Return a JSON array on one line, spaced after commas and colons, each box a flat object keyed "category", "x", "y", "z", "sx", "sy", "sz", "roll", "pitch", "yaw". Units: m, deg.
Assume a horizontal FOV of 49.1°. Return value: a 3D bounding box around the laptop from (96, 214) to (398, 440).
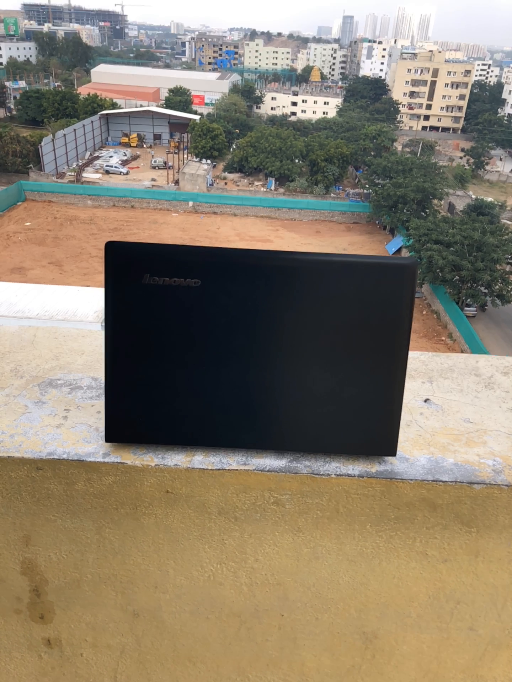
[{"category": "laptop", "x": -0.015, "y": -0.032, "z": 0.782, "sx": 0.333, "sy": 0.223, "sz": 0.246, "roll": 2, "pitch": 27, "yaw": 0}]
